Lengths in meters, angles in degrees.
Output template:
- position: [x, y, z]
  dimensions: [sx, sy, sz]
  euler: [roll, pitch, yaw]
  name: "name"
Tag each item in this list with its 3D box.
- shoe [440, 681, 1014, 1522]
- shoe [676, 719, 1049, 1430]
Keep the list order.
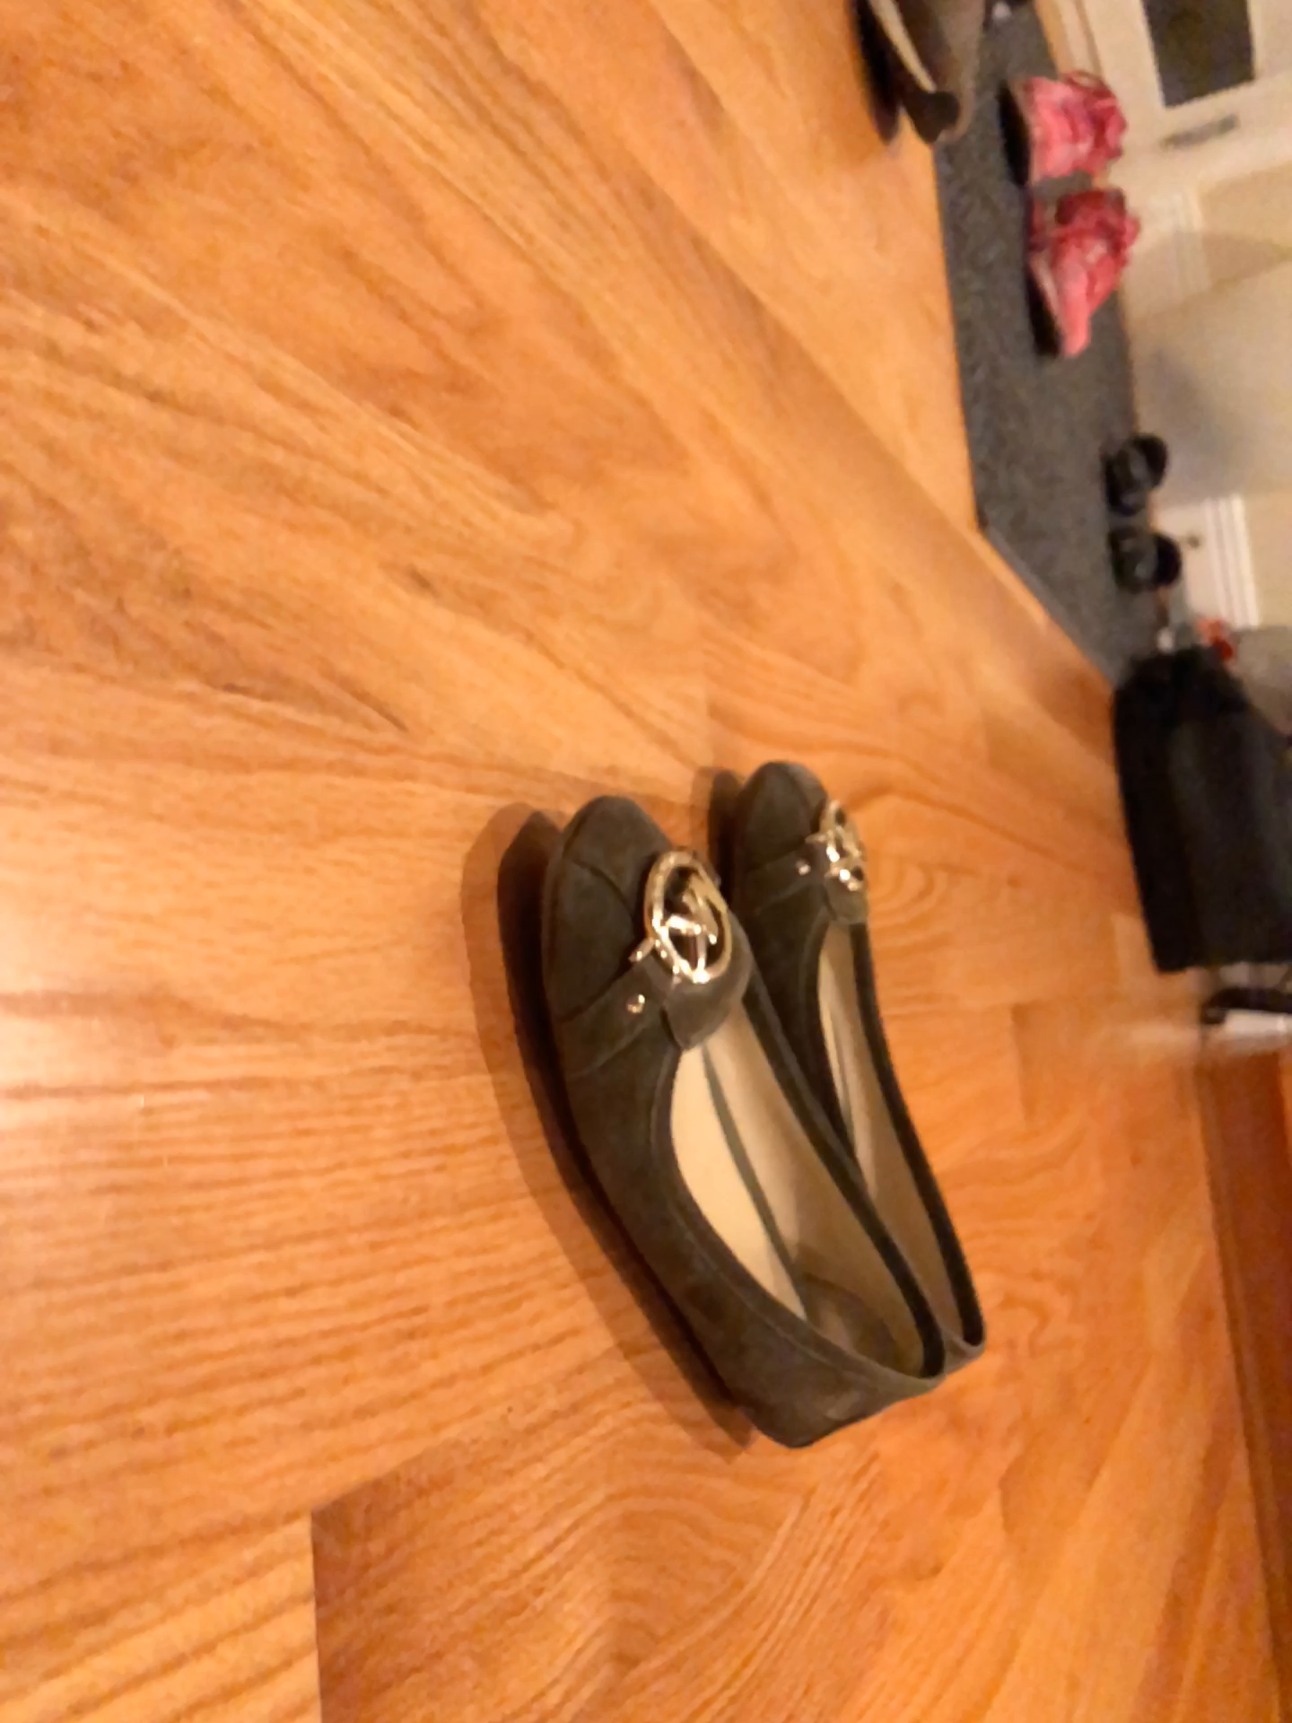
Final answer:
- position: [0.039, 0.080, 0.430]
  dimensions: [0.242, 0.079, 0.091]
  euler: [67, 28, -28]
  name: "shoe"
- position: [0.084, 0.072, 0.535]
  dimensions: [0.091, 0.079, 0.240]
  euler: [-12, 93, -65]
  name: "shoe"
